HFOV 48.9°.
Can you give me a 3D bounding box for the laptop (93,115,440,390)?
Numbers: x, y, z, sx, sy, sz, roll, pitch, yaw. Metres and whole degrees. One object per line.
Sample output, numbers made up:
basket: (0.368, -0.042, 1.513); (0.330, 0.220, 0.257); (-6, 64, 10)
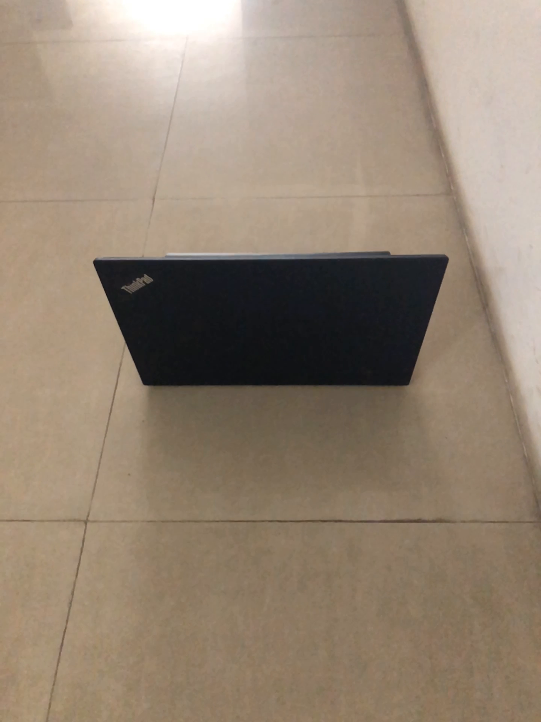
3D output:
laptop: (0.003, -0.137, 0.779); (0.353, 0.240, 0.256); (0, 54, 1)
